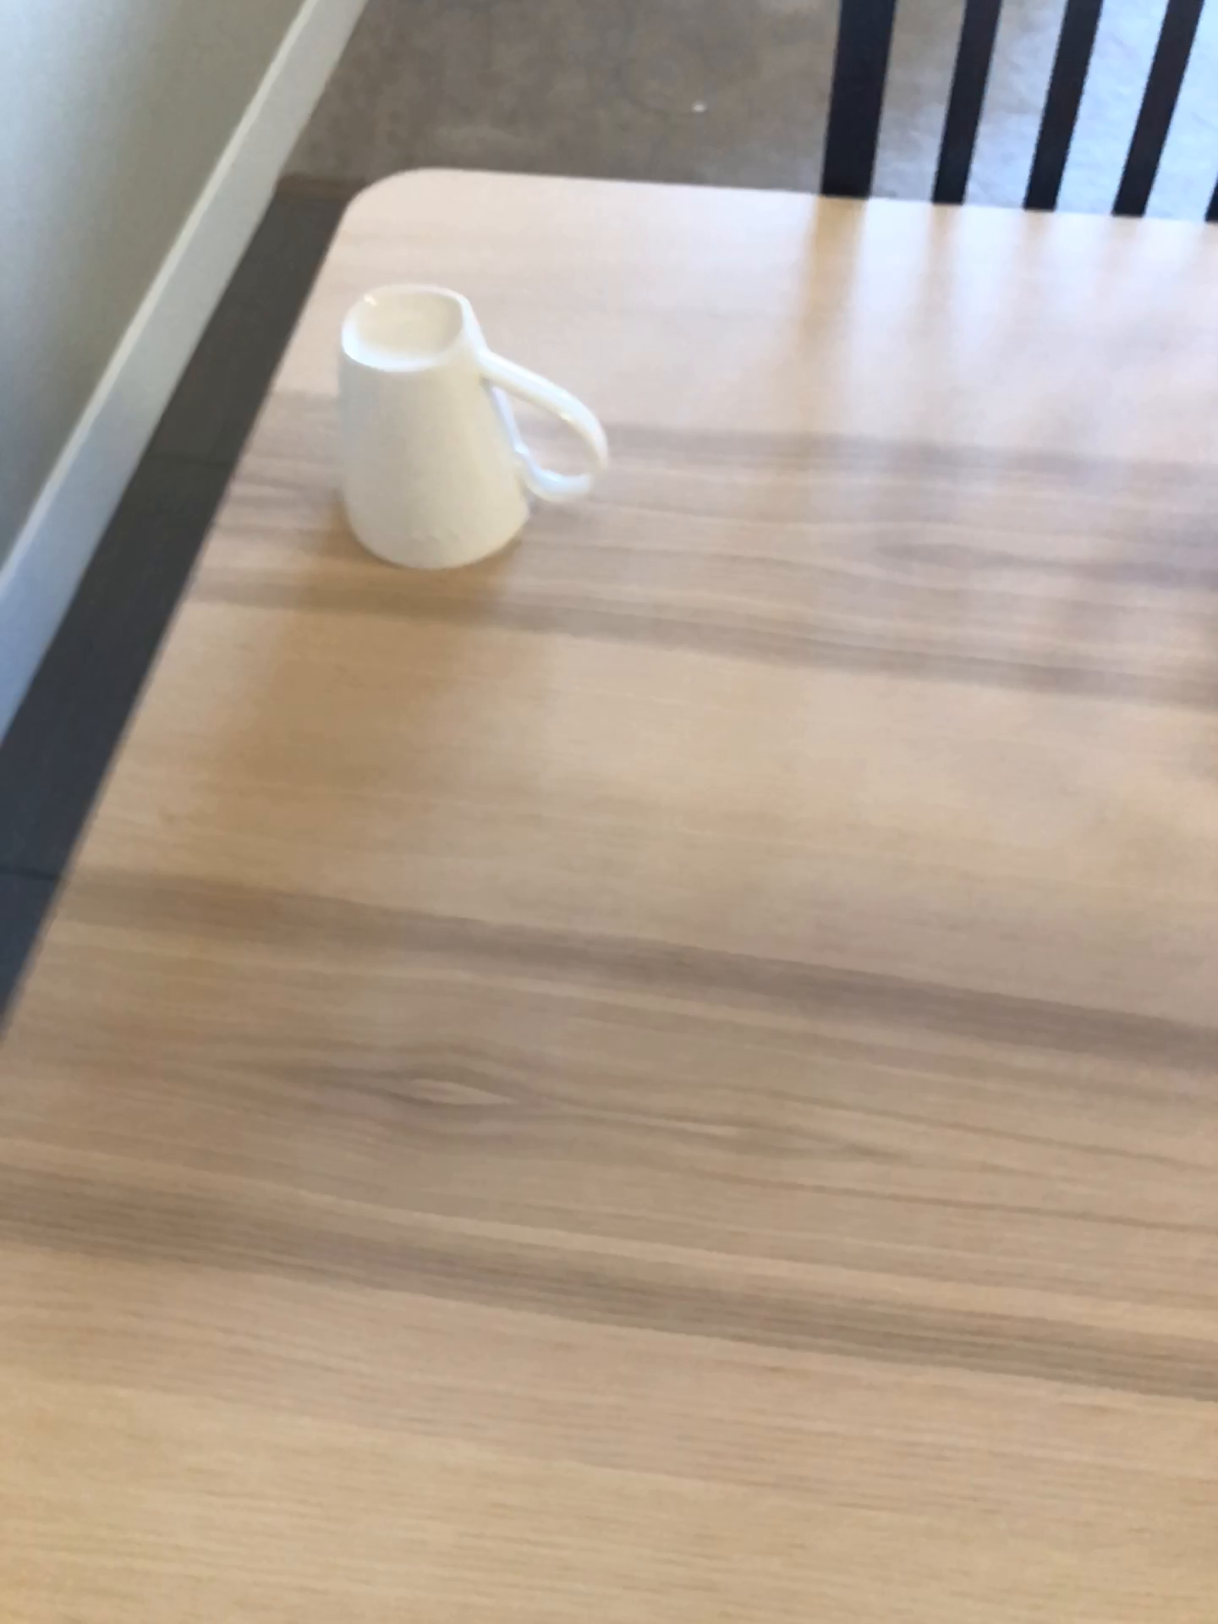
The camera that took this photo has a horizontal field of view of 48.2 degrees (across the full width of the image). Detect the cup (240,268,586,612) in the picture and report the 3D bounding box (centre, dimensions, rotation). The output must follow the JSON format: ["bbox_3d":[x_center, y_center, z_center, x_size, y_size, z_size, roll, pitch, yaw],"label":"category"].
[{"bbox_3d":[-0.085,-0.176,0.654,0.140,0.120,0.100,-1,57,2],"label":"cup"}]
